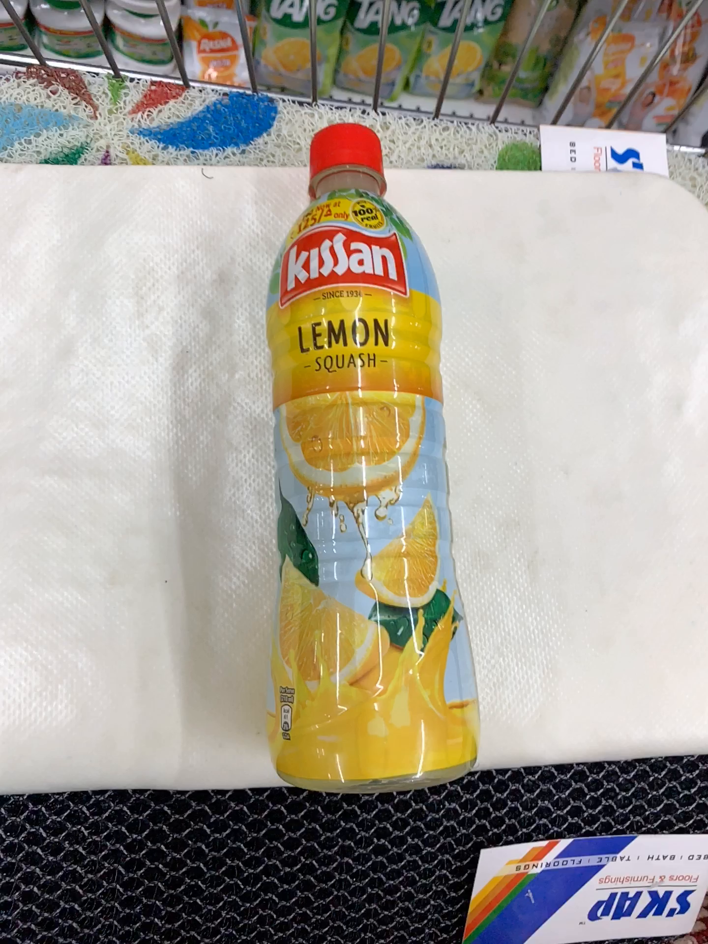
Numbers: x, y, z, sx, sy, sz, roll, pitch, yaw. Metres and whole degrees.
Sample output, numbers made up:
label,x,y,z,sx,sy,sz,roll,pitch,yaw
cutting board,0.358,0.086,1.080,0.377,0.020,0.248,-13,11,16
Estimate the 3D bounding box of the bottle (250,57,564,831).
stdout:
label,x,y,z,sx,sy,sz,roll,pitch,yaw
bottle,0.010,-0.012,0.258,0.080,0.070,0.230,-1,83,-14
